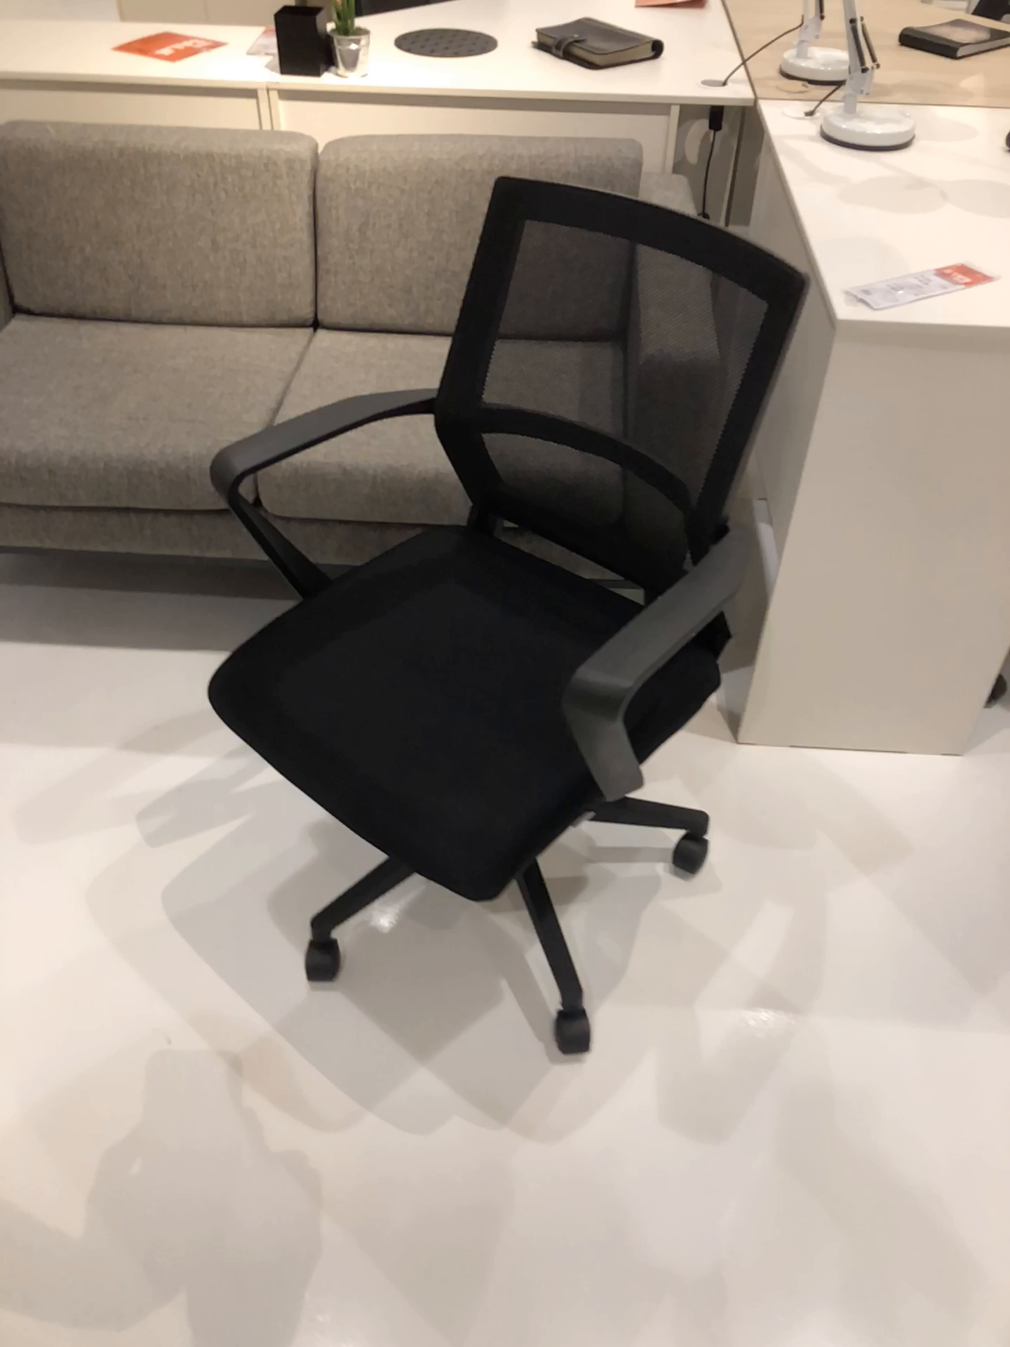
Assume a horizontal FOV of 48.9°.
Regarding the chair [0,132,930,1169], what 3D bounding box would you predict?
[{"bbox_3d":[-0.046,-0.044,1.409,0.682,0.933,0.633,31,50,29],"label":"chair"}]
